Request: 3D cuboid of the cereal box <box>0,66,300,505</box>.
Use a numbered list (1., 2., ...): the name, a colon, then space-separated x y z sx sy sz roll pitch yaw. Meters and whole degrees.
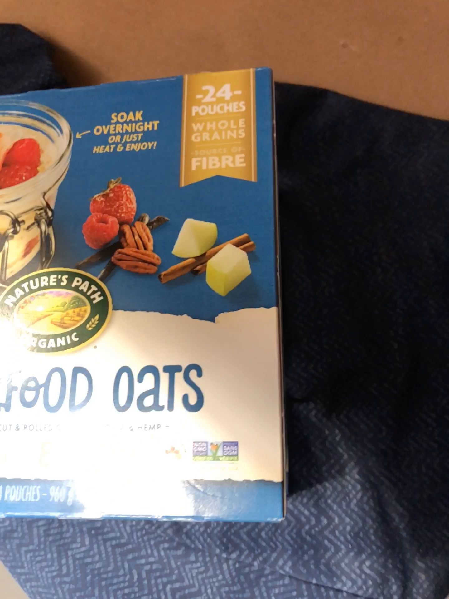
1. cereal box: -0.081 0.005 0.345 0.250 0.150 0.240 -2 72 7
